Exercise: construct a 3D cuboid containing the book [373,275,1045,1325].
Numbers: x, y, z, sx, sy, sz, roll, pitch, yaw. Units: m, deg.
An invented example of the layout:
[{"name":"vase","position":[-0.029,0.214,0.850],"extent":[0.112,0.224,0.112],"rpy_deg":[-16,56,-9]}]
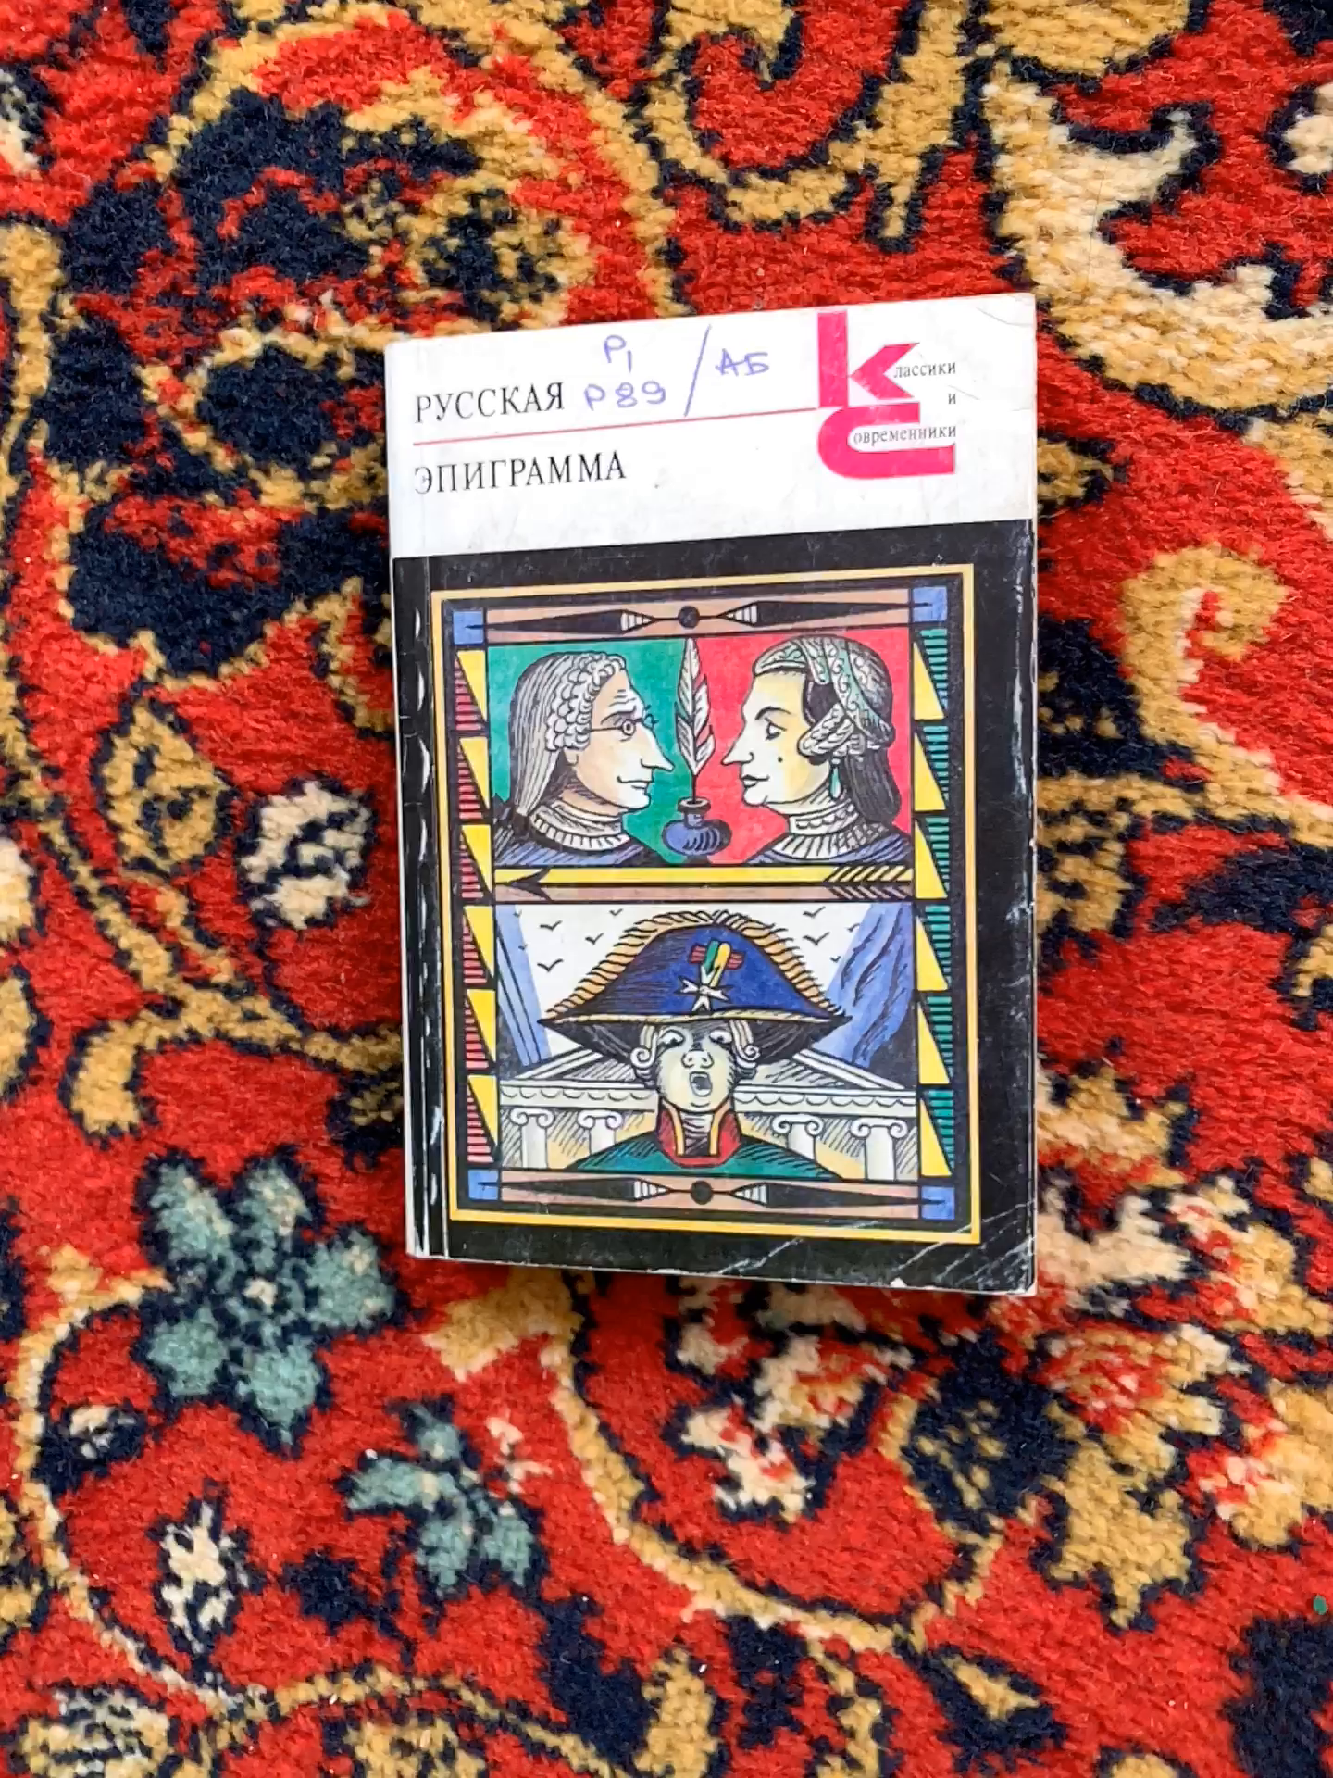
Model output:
[{"name":"book","position":[0.007,-0.013,0.238],"extent":[0.110,0.022,0.163],"rpy_deg":[0,93,12]}]
